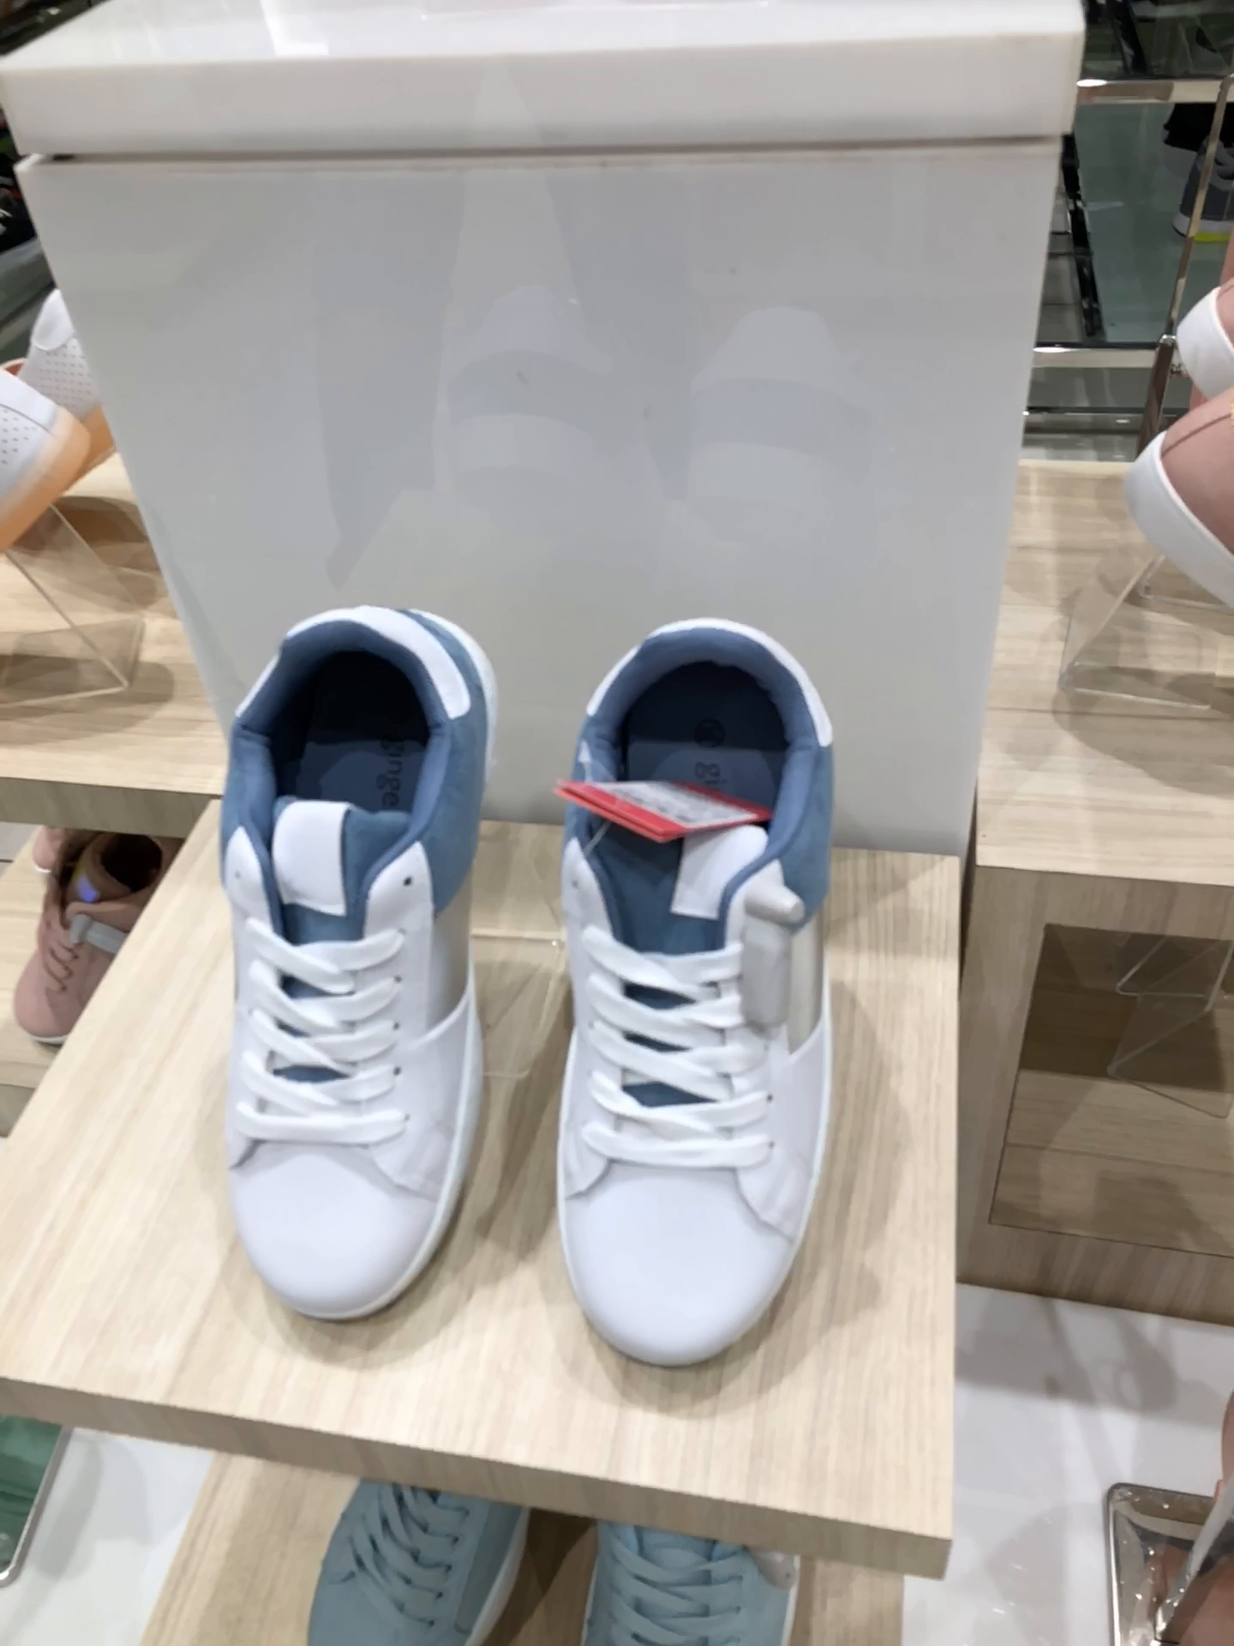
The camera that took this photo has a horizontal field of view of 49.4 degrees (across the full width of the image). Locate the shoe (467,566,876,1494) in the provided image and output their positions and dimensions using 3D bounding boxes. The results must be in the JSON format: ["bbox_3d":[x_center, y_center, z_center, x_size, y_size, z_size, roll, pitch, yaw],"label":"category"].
[{"bbox_3d":[0.024,0.057,0.445,0.102,0.263,0.104,4,2,11],"label":"shoe"}]

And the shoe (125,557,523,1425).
[{"bbox_3d":[-0.095,0.049,0.464,0.092,0.261,0.104,2,0,9],"label":"shoe"}]
